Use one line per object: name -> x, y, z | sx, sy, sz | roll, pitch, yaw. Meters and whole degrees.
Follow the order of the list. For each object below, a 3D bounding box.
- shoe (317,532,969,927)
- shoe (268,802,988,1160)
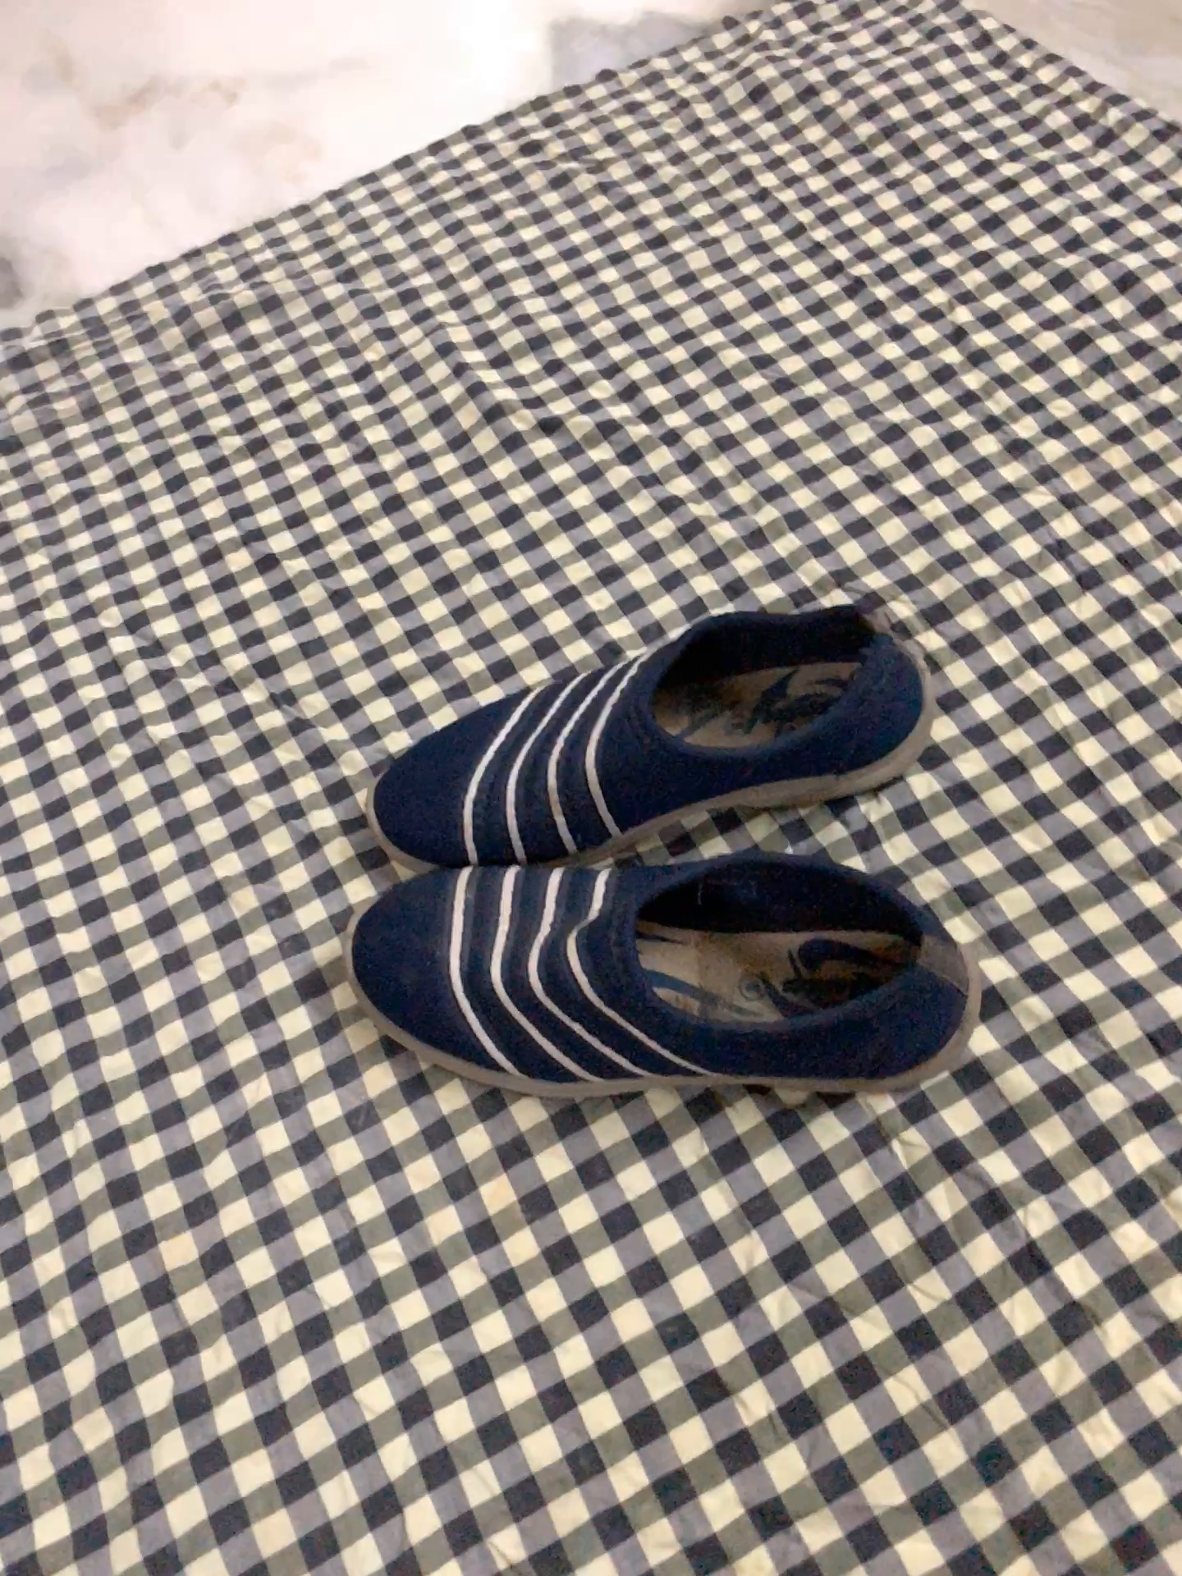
shoe -> 0.019, -0.023, 0.526 | 0.250, 0.089, 0.091 | -11, 60, 1
shoe -> 0.018, 0.077, 0.482 | 0.250, 0.099, 0.090 | 4, 61, 9
